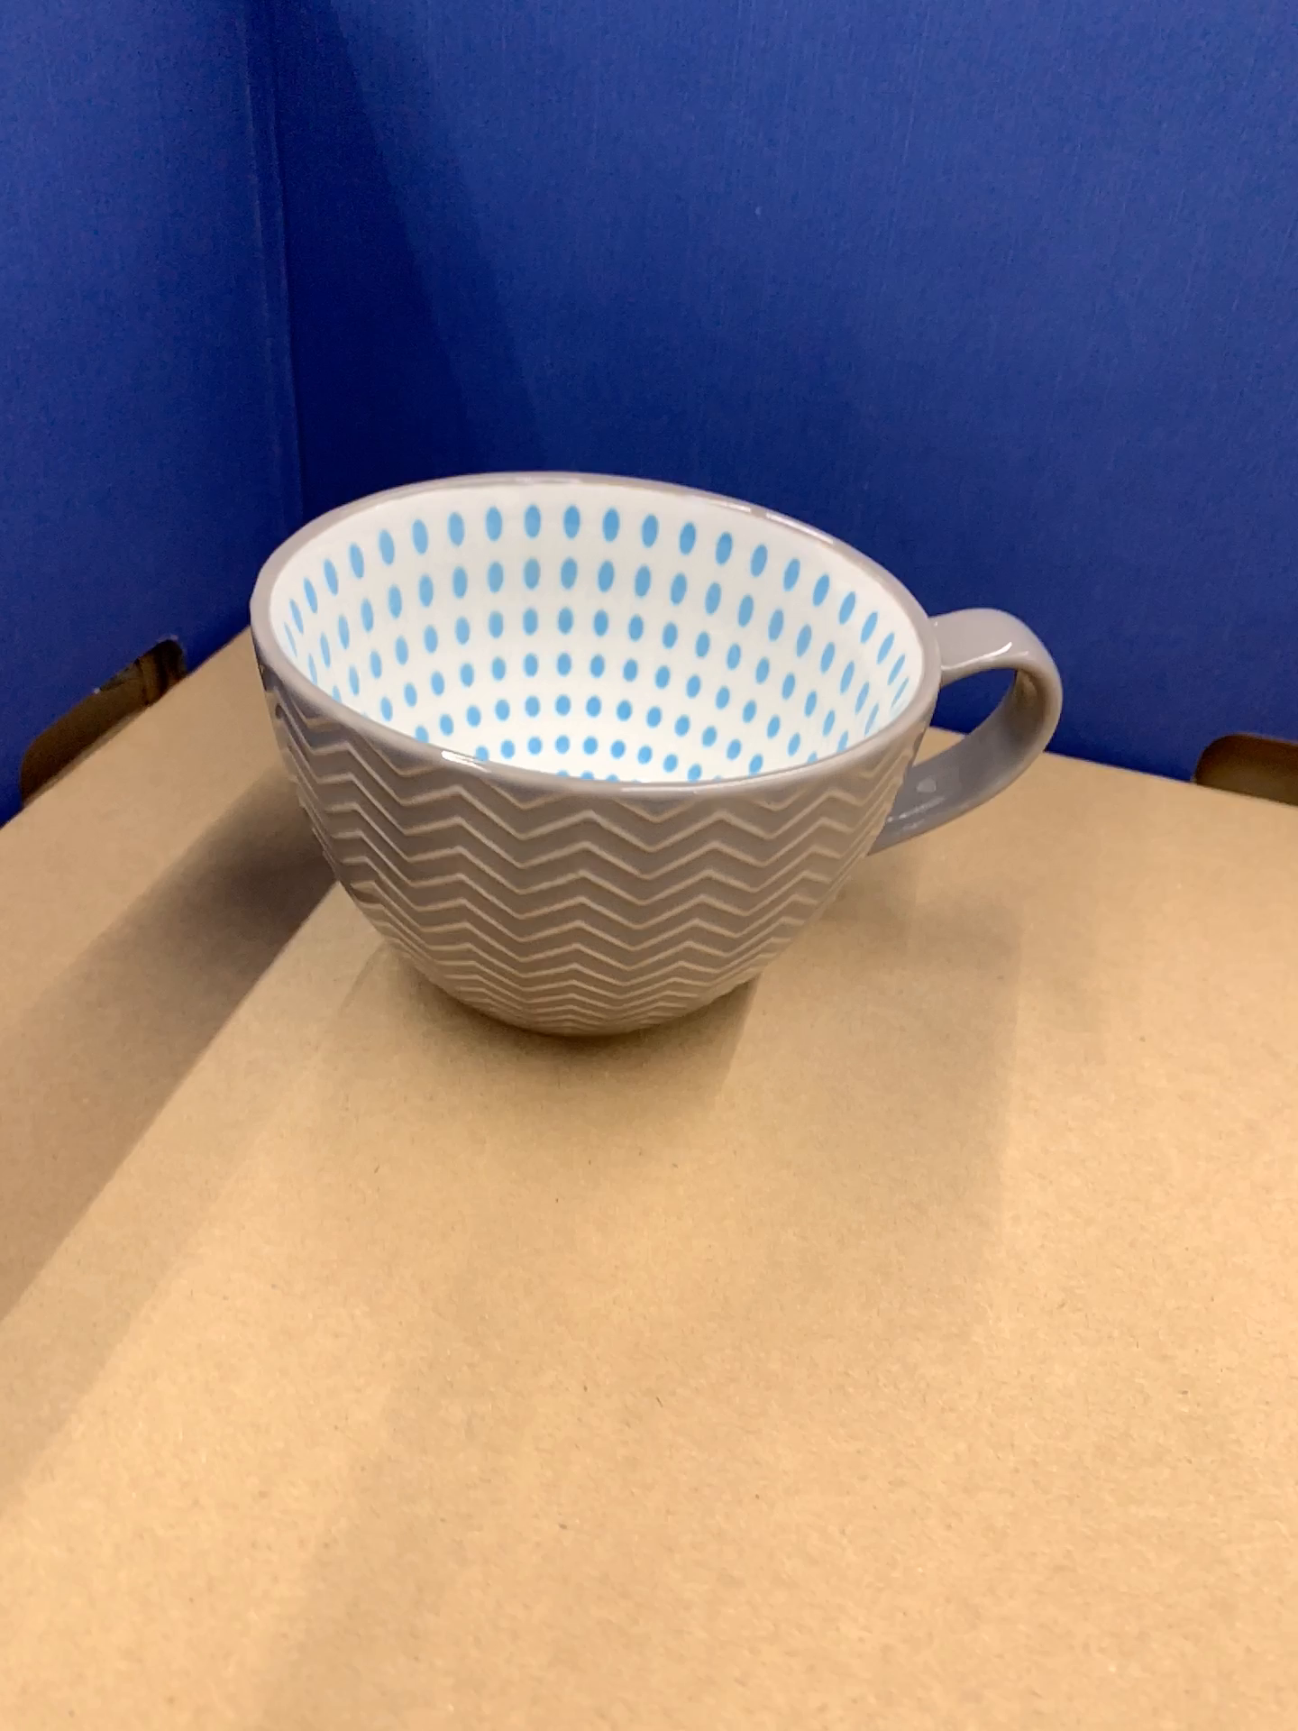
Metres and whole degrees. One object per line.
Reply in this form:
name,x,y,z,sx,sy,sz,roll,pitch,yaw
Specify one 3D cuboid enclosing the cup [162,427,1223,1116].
cup,0.000,-0.030,0.247,0.150,0.058,0.109,-11,38,-22
